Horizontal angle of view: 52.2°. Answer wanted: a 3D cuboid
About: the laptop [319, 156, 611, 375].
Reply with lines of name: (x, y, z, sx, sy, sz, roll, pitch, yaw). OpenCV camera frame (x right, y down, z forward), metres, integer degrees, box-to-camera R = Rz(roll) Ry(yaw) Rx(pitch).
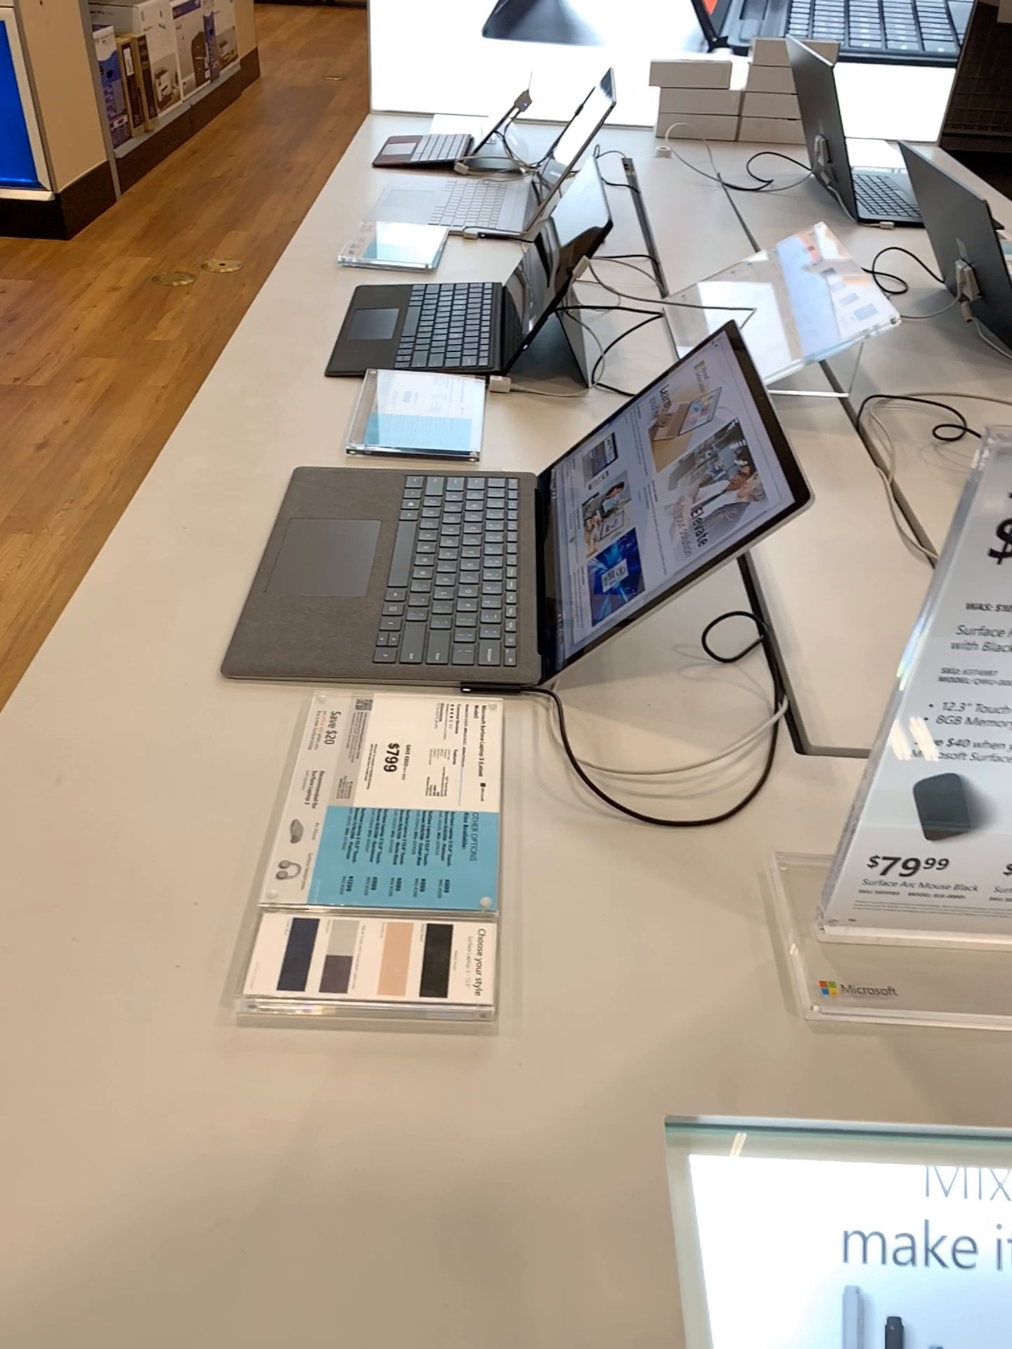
laptop: (-0.042, -0.478, 1.191, 0.290, 0.157, 0.290, 1, 38, -2)

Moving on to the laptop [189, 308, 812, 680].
laptop: (-0.004, -0.150, 0.782, 0.374, 0.148, 0.298, 2, 38, 1)
